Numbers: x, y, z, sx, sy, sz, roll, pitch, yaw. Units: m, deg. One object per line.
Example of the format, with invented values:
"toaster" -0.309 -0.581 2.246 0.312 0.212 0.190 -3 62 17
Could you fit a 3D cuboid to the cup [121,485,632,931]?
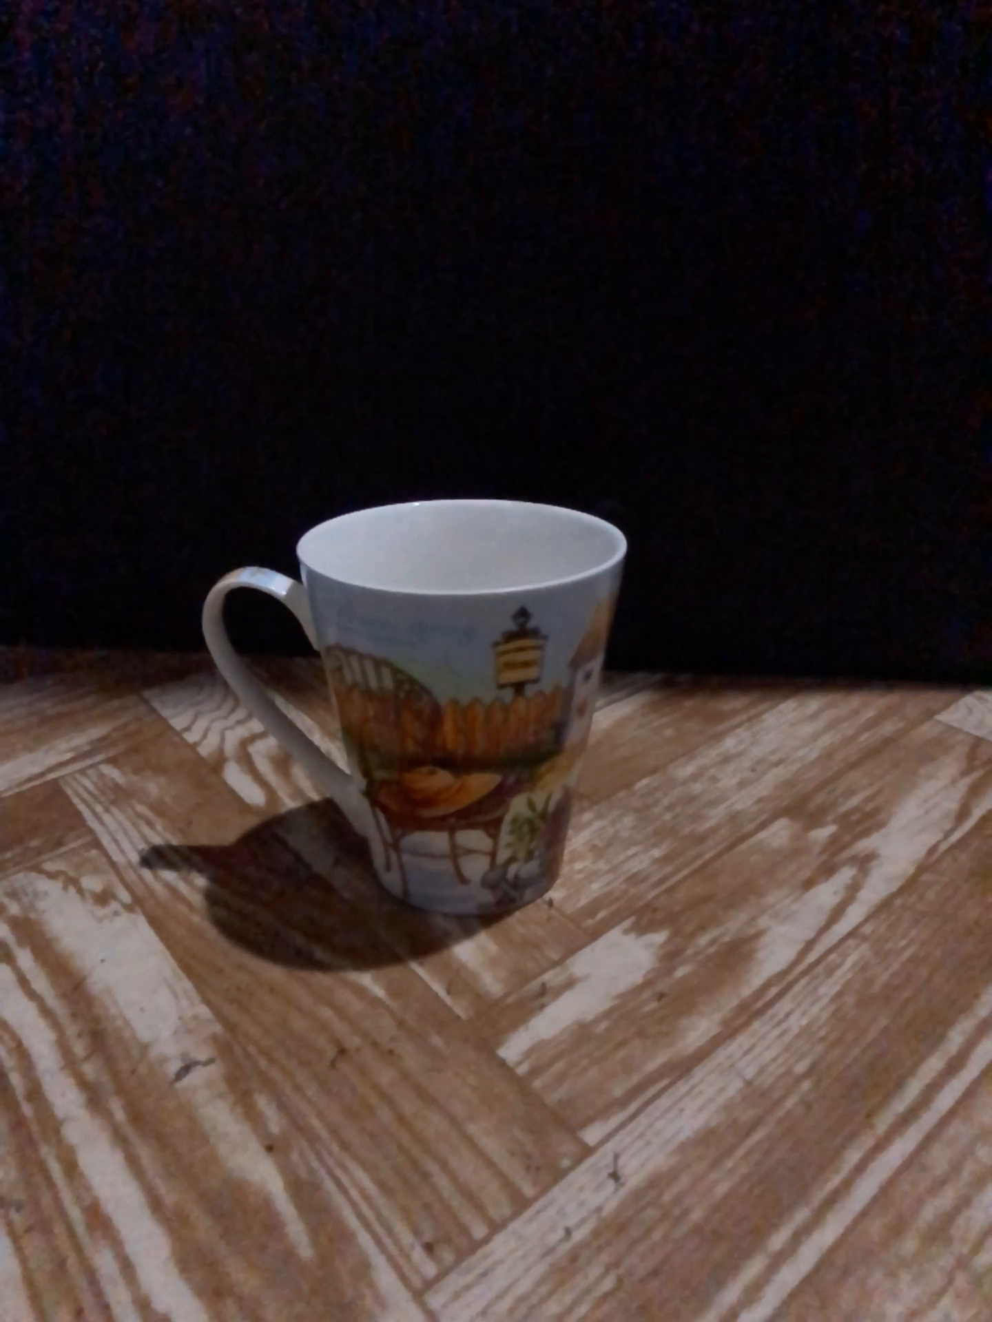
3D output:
"cup" -0.024 0.007 0.309 0.120 0.092 0.087 2 23 6
